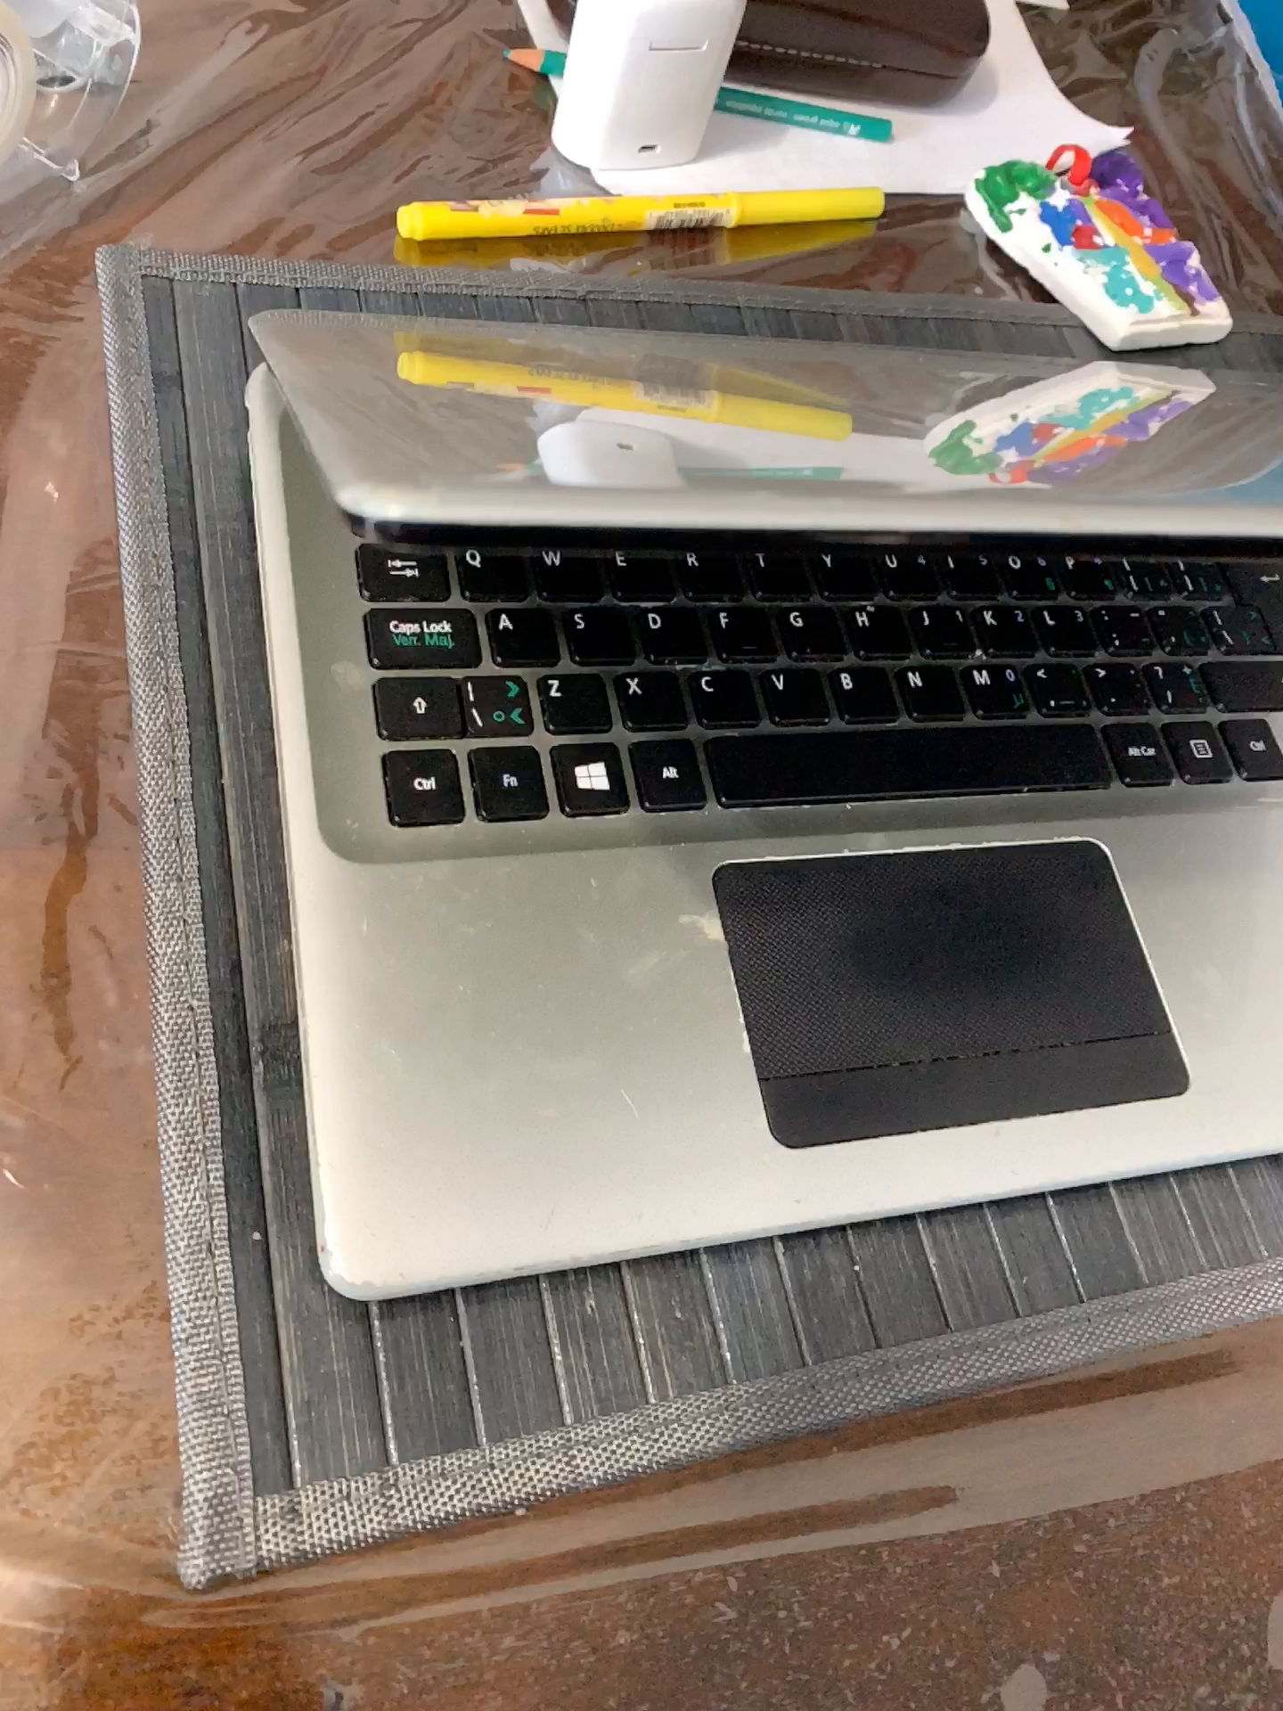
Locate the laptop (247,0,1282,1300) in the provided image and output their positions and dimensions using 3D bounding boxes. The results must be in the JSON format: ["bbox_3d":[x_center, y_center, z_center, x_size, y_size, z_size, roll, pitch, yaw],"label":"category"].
[{"bbox_3d":[0.102,-0.063,0.281,0.344,0.141,0.225,-4,65,-19],"label":"laptop"}]
